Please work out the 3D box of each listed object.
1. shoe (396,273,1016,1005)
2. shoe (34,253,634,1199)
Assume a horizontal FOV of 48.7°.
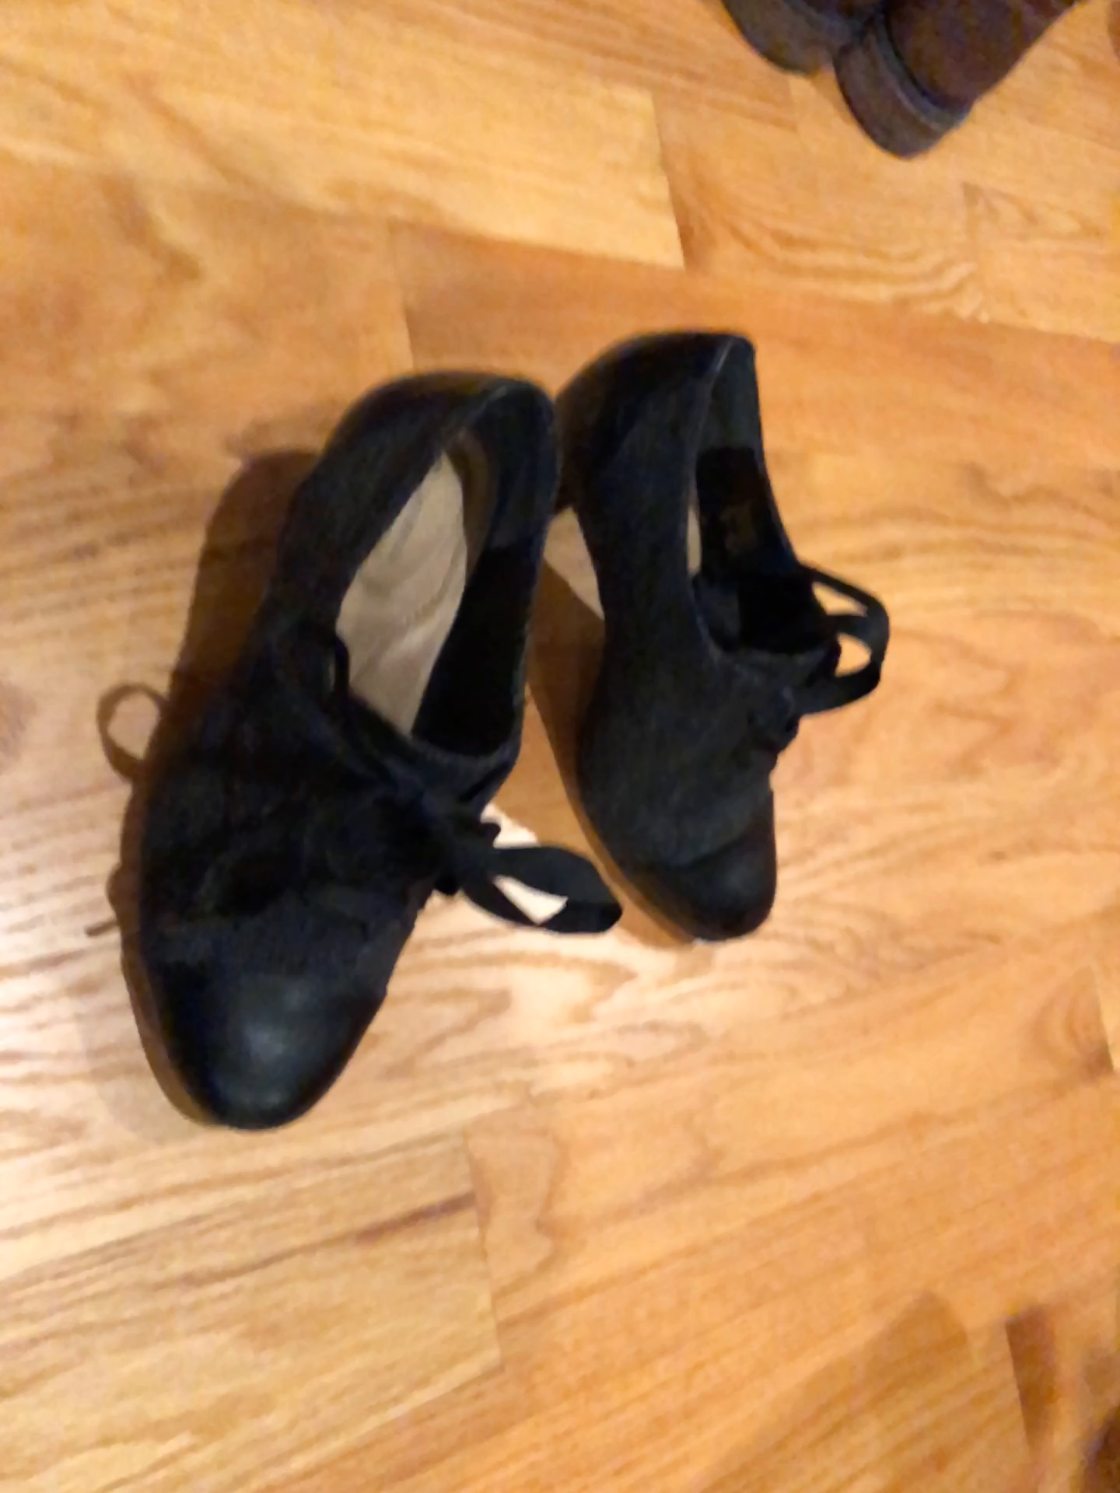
[{"bbox_3d":[0.048,-0.029,0.444,0.088,0.125,0.223,-25,95,-36],"label":"shoe"},{"bbox_3d":[-0.064,0.003,0.358,0.093,0.125,0.223,17,71,-32],"label":"shoe"}]
